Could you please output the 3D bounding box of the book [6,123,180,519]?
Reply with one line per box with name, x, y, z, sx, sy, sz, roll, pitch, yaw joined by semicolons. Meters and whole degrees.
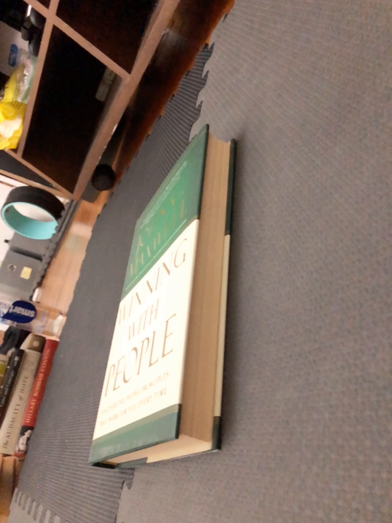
book;-0.091;0.050;0.382;0.200;0.030;0.291;-41;34;52
